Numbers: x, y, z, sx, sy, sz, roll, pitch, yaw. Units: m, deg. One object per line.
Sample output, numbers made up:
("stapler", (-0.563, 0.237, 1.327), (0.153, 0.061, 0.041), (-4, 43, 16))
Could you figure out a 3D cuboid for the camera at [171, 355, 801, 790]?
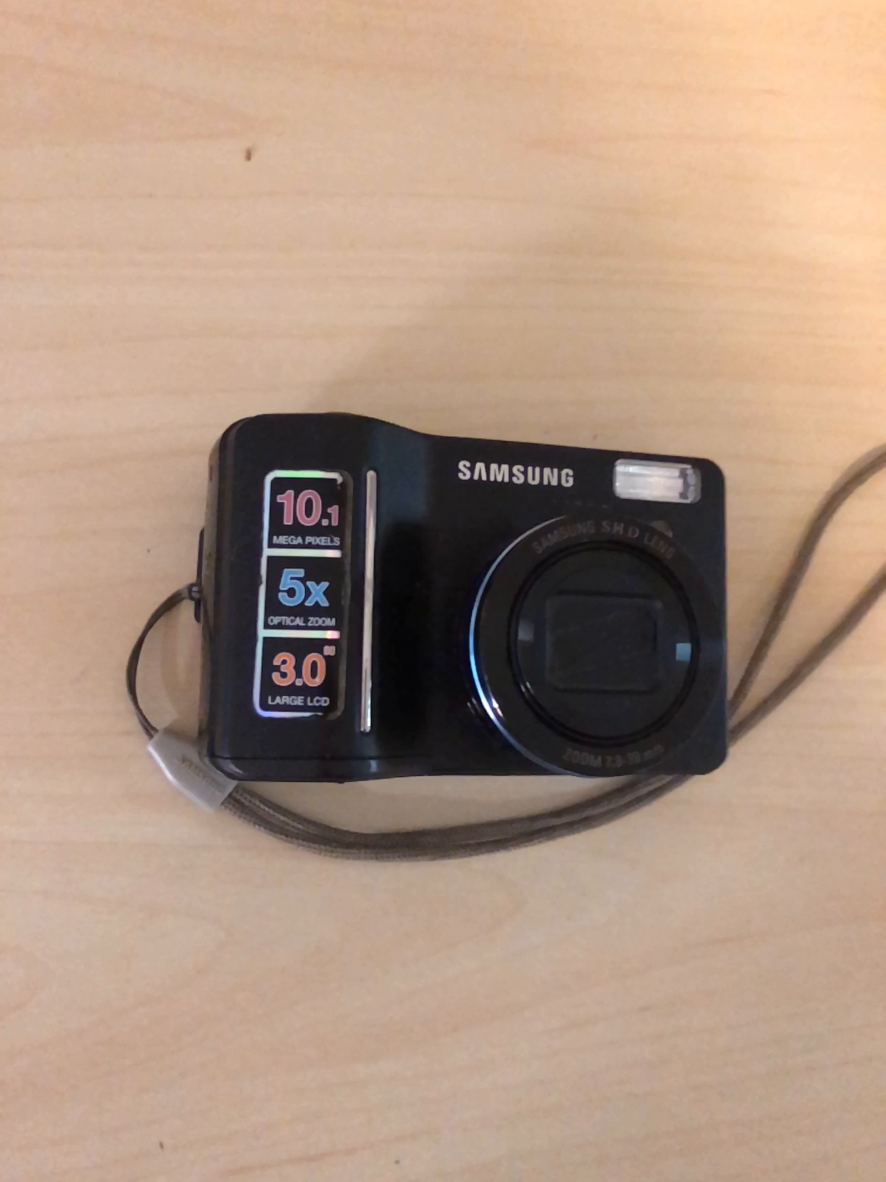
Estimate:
("camera", (0.009, 0.000, 0.186), (0.110, 0.030, 0.070), (3, 83, -12))
